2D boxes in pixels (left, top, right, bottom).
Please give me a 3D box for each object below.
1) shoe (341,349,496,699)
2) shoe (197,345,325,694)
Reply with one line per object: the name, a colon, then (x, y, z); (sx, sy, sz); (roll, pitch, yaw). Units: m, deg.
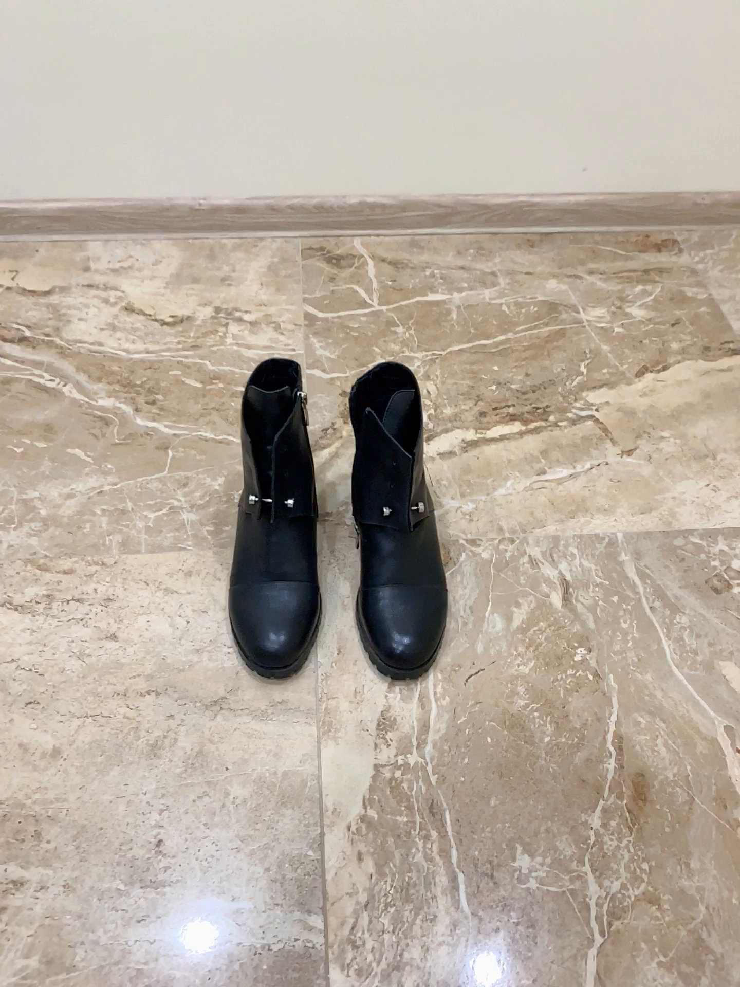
shoe: (0.030, 0.026, 0.705); (0.090, 0.199, 0.251); (-3, 50, -6)
shoe: (-0.089, 0.024, 0.699); (0.090, 0.199, 0.251); (-1, 53, -3)
